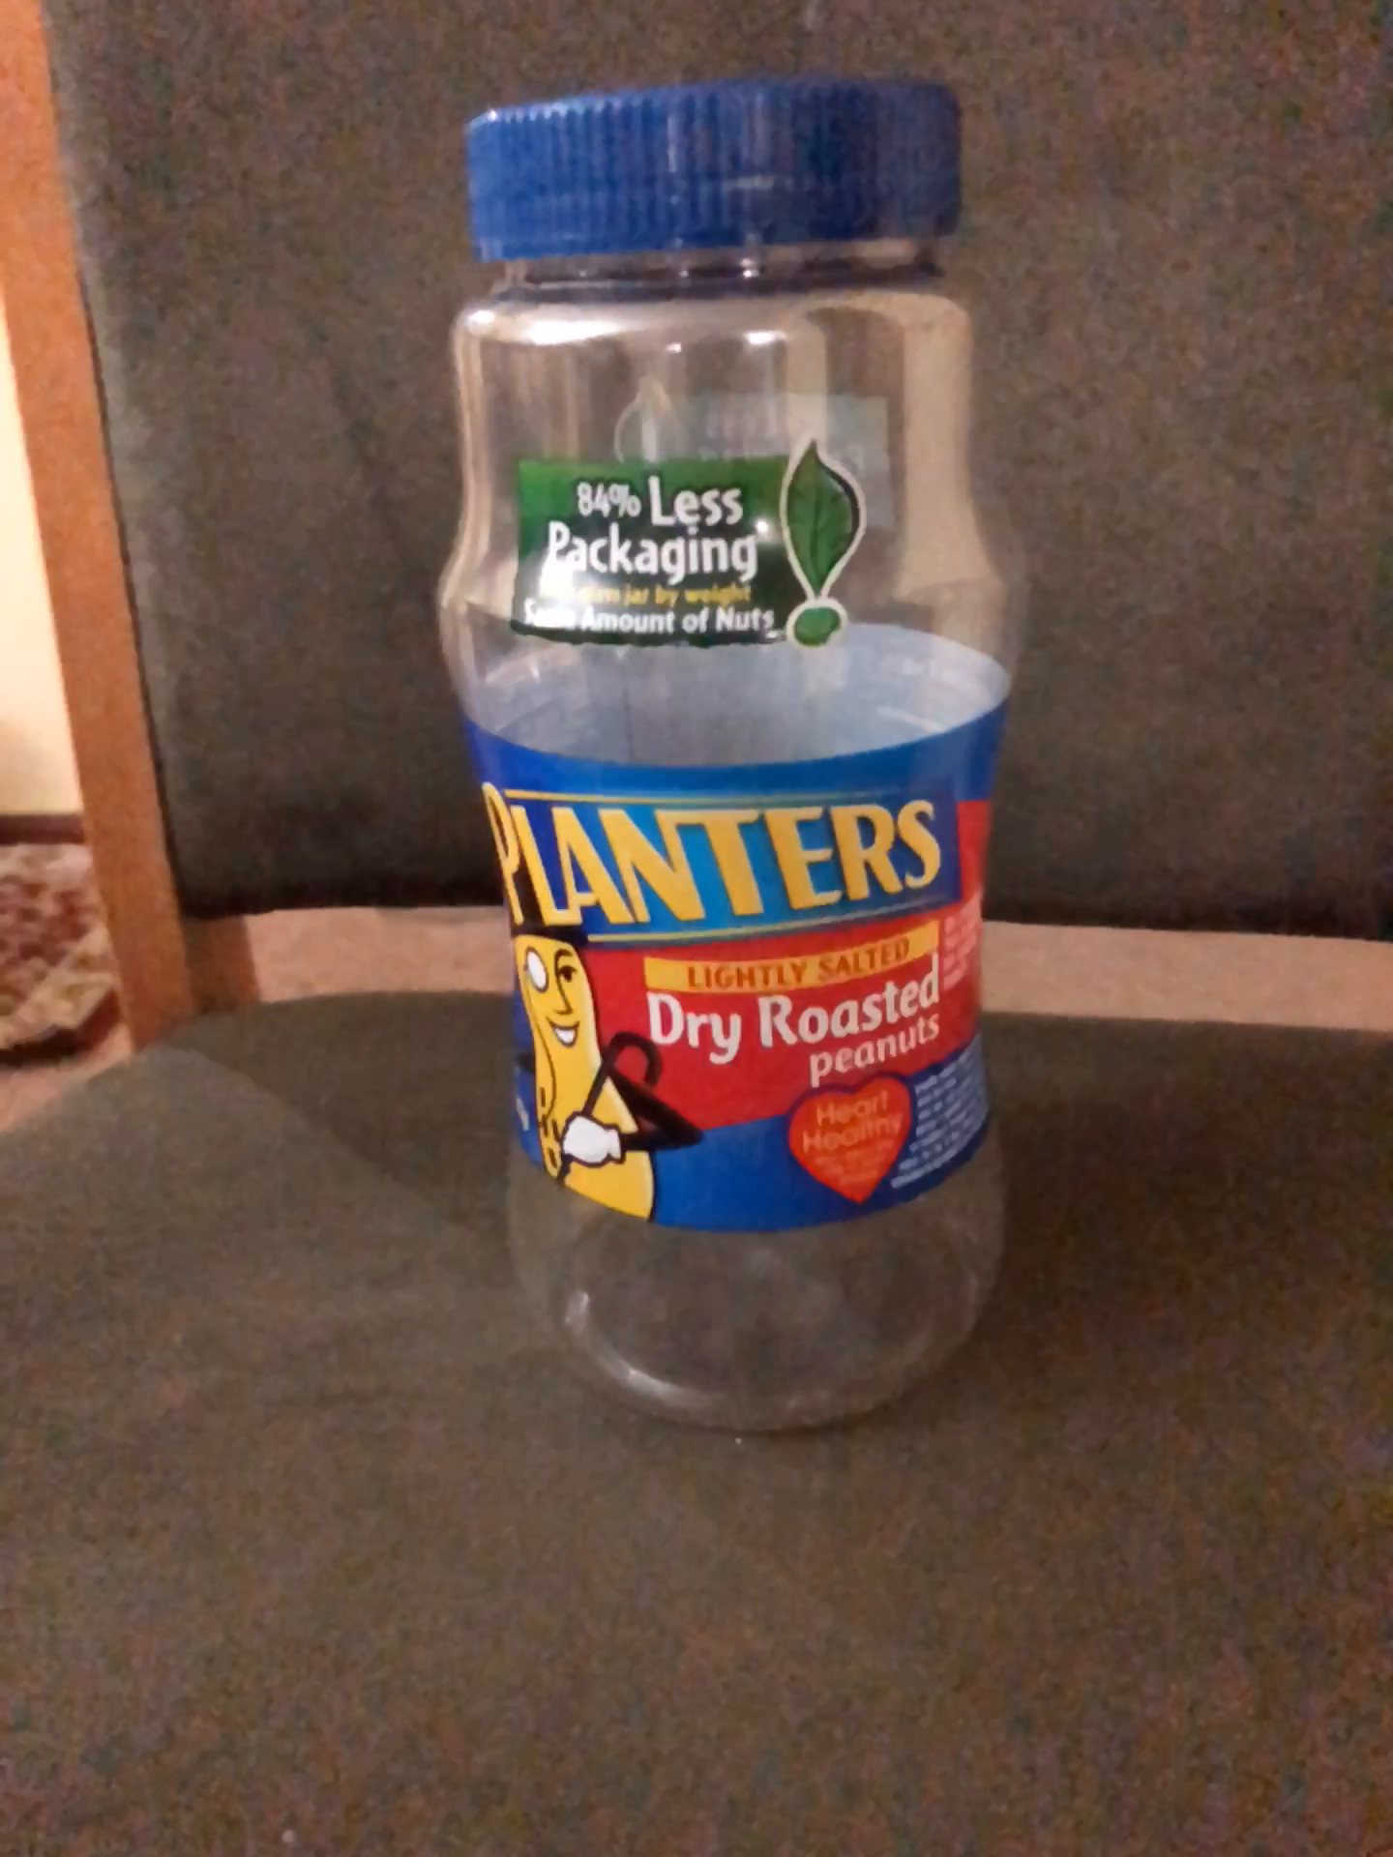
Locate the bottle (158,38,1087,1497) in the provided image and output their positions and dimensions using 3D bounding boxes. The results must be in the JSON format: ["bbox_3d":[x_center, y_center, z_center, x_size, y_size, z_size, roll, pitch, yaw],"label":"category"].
[{"bbox_3d":[0.003,-0.021,0.219,0.090,0.170,0.080,4,25,15],"label":"bottle"}]
